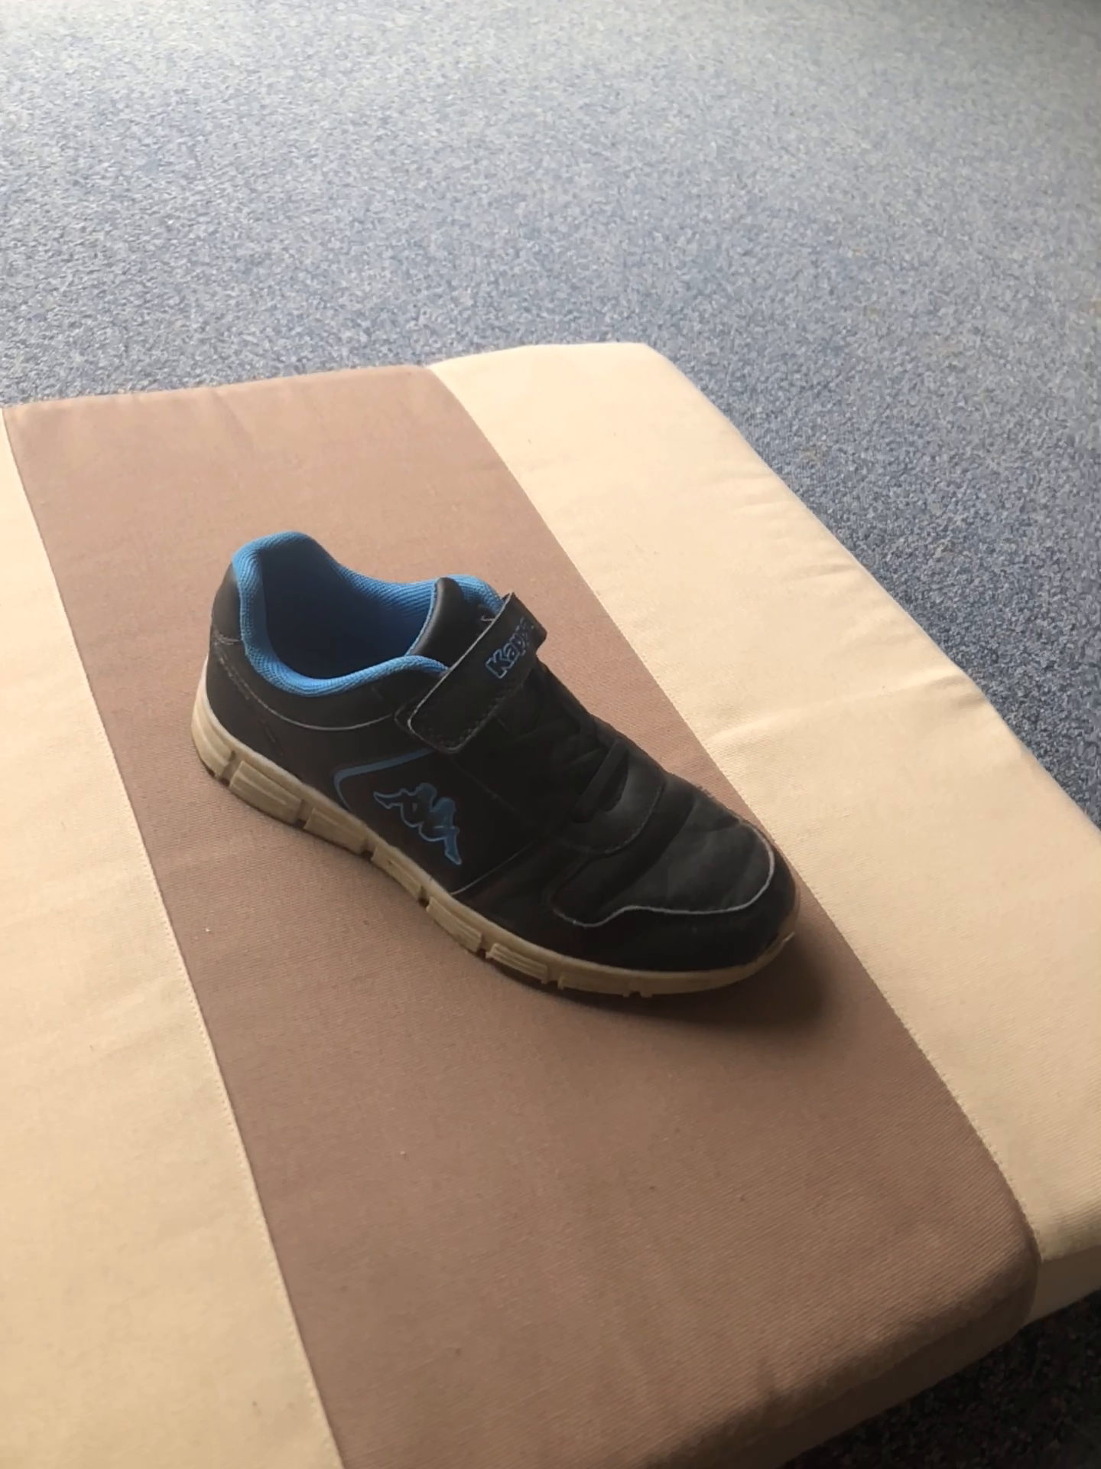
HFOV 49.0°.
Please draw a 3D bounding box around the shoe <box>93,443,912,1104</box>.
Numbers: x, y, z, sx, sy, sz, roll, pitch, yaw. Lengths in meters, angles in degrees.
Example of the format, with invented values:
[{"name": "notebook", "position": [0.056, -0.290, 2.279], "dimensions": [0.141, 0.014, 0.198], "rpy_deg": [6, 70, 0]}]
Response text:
[{"name": "shoe", "position": [-0.019, 0.006, 0.411], "dimensions": [0.240, 0.089, 0.101], "rpy_deg": [26, 48, 12]}]
